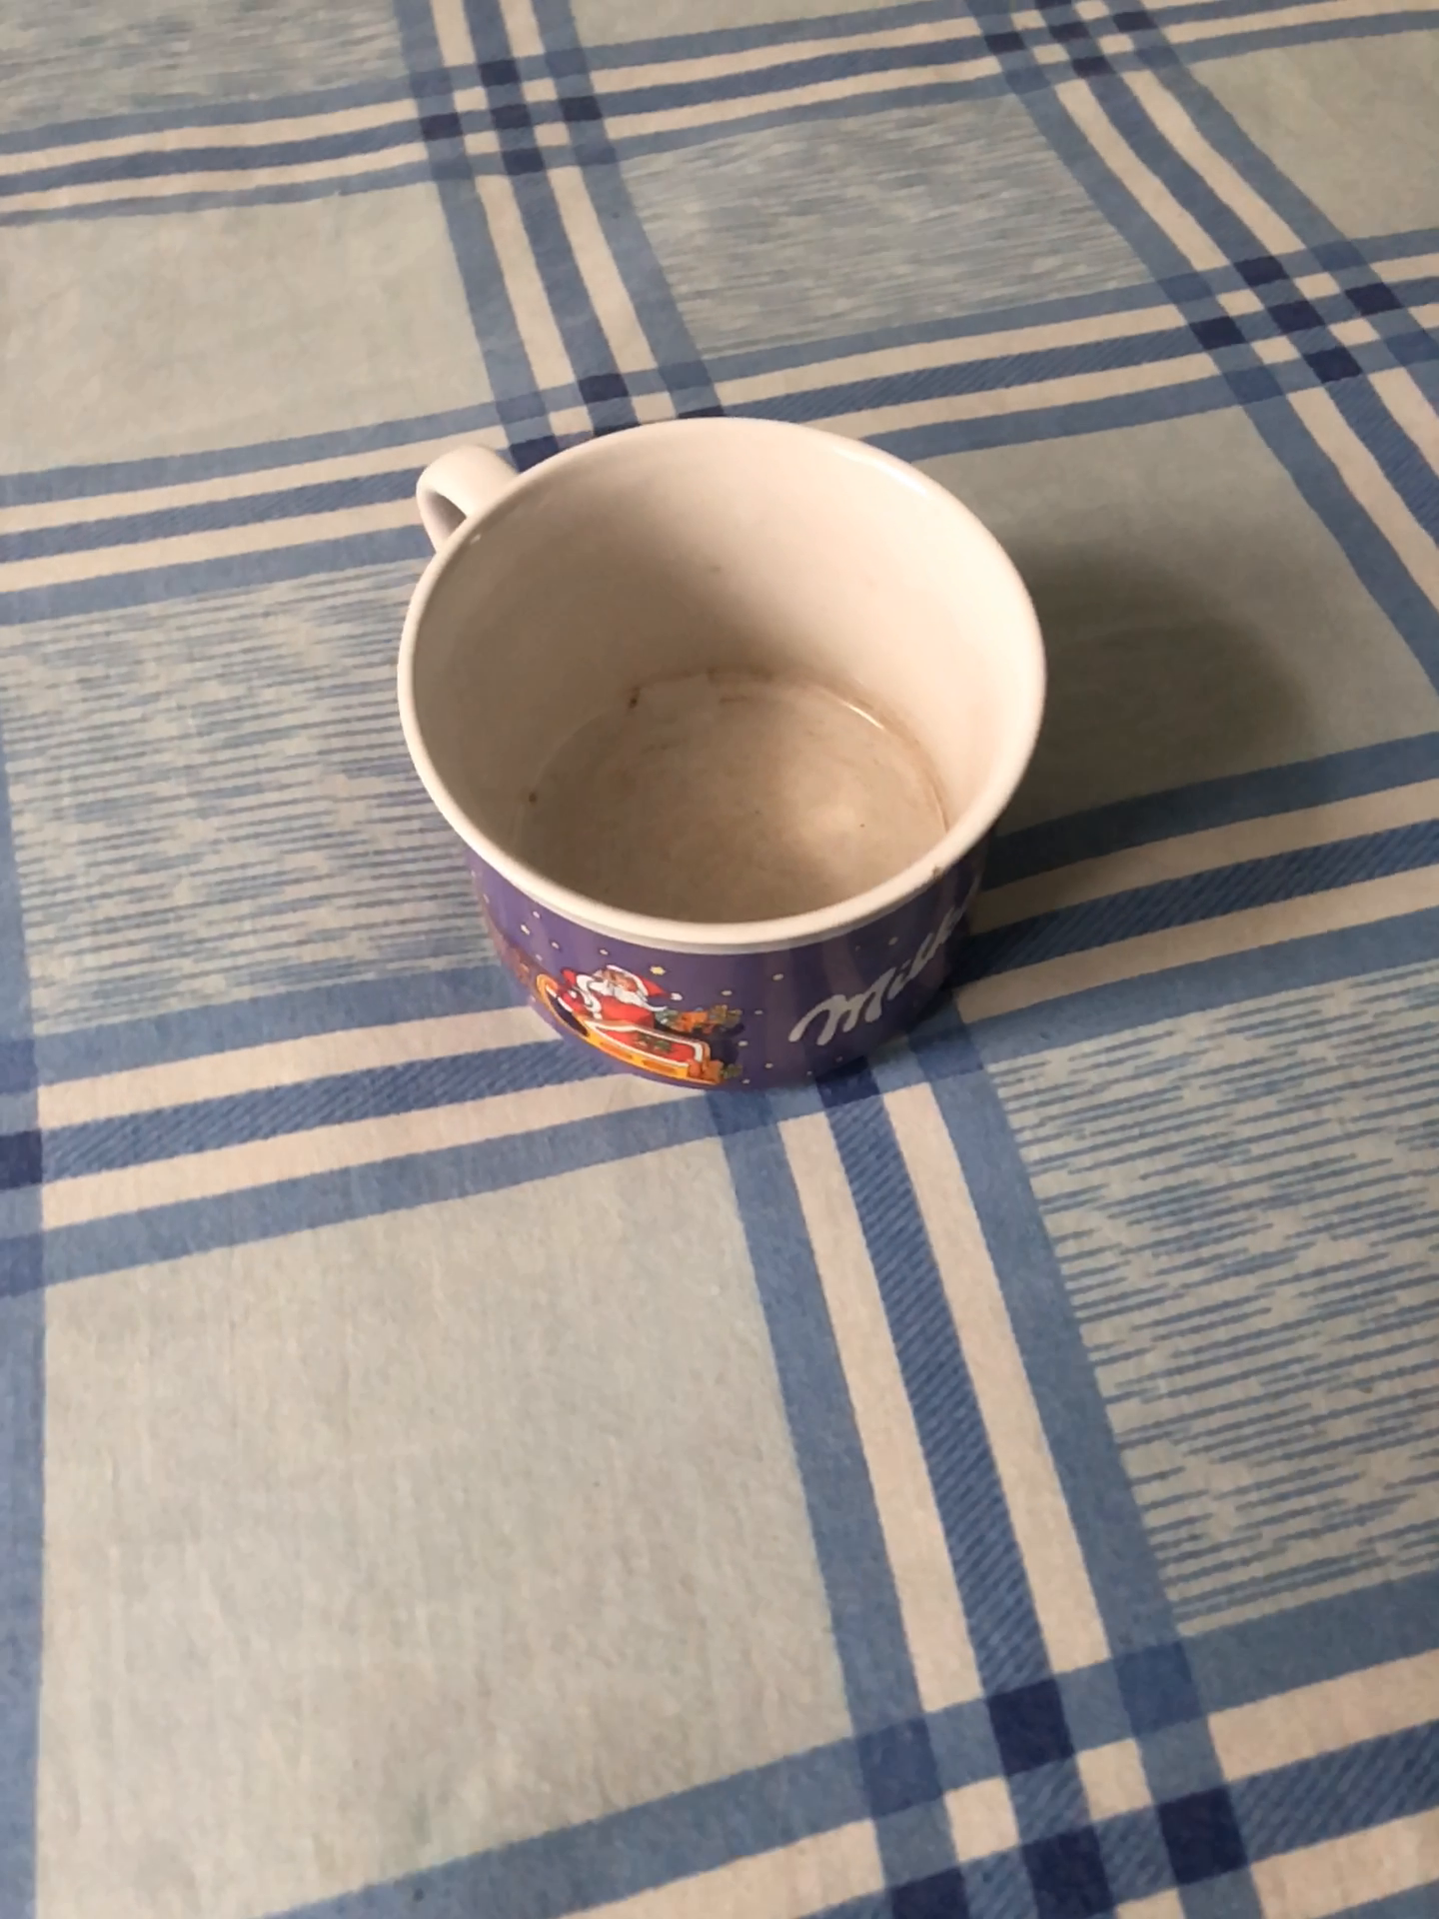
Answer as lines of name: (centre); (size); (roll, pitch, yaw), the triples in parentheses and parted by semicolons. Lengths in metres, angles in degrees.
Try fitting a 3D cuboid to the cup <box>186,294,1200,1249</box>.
cup: (-0.007, -0.039, 0.285); (0.104, 0.063, 0.130); (-37, 65, -20)
